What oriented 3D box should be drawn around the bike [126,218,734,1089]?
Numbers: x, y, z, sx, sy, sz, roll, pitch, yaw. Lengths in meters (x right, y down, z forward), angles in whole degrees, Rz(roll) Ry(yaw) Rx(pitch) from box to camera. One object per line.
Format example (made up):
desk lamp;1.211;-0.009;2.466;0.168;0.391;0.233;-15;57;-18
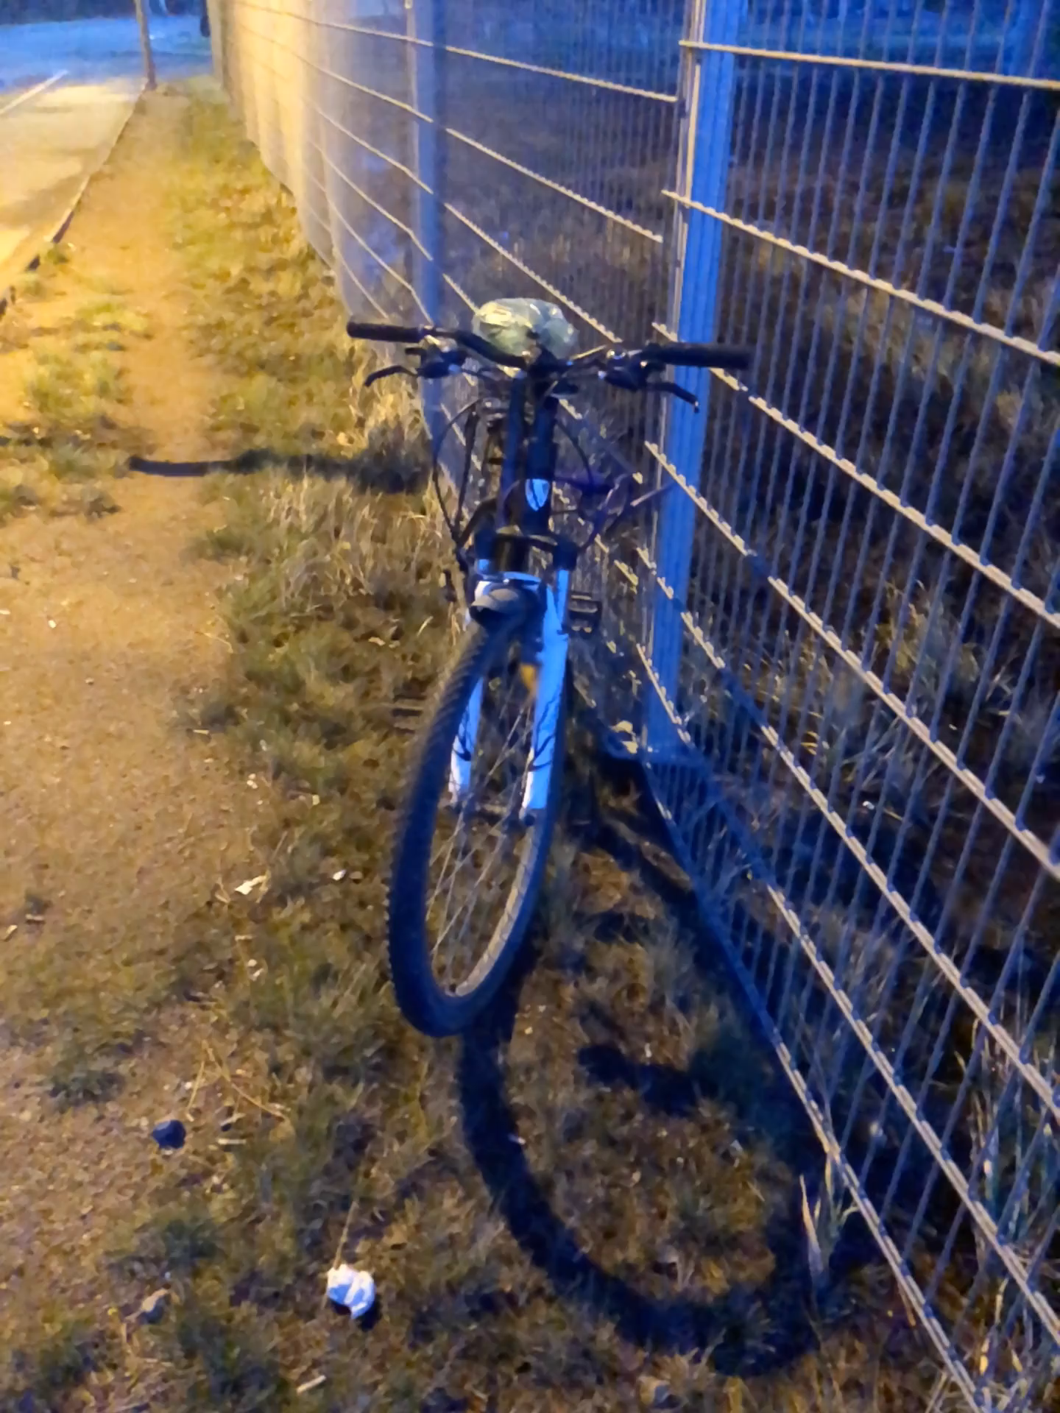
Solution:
bike;-0.076;-0.272;2.027;0.569;0.947;1.592;1;29;0
